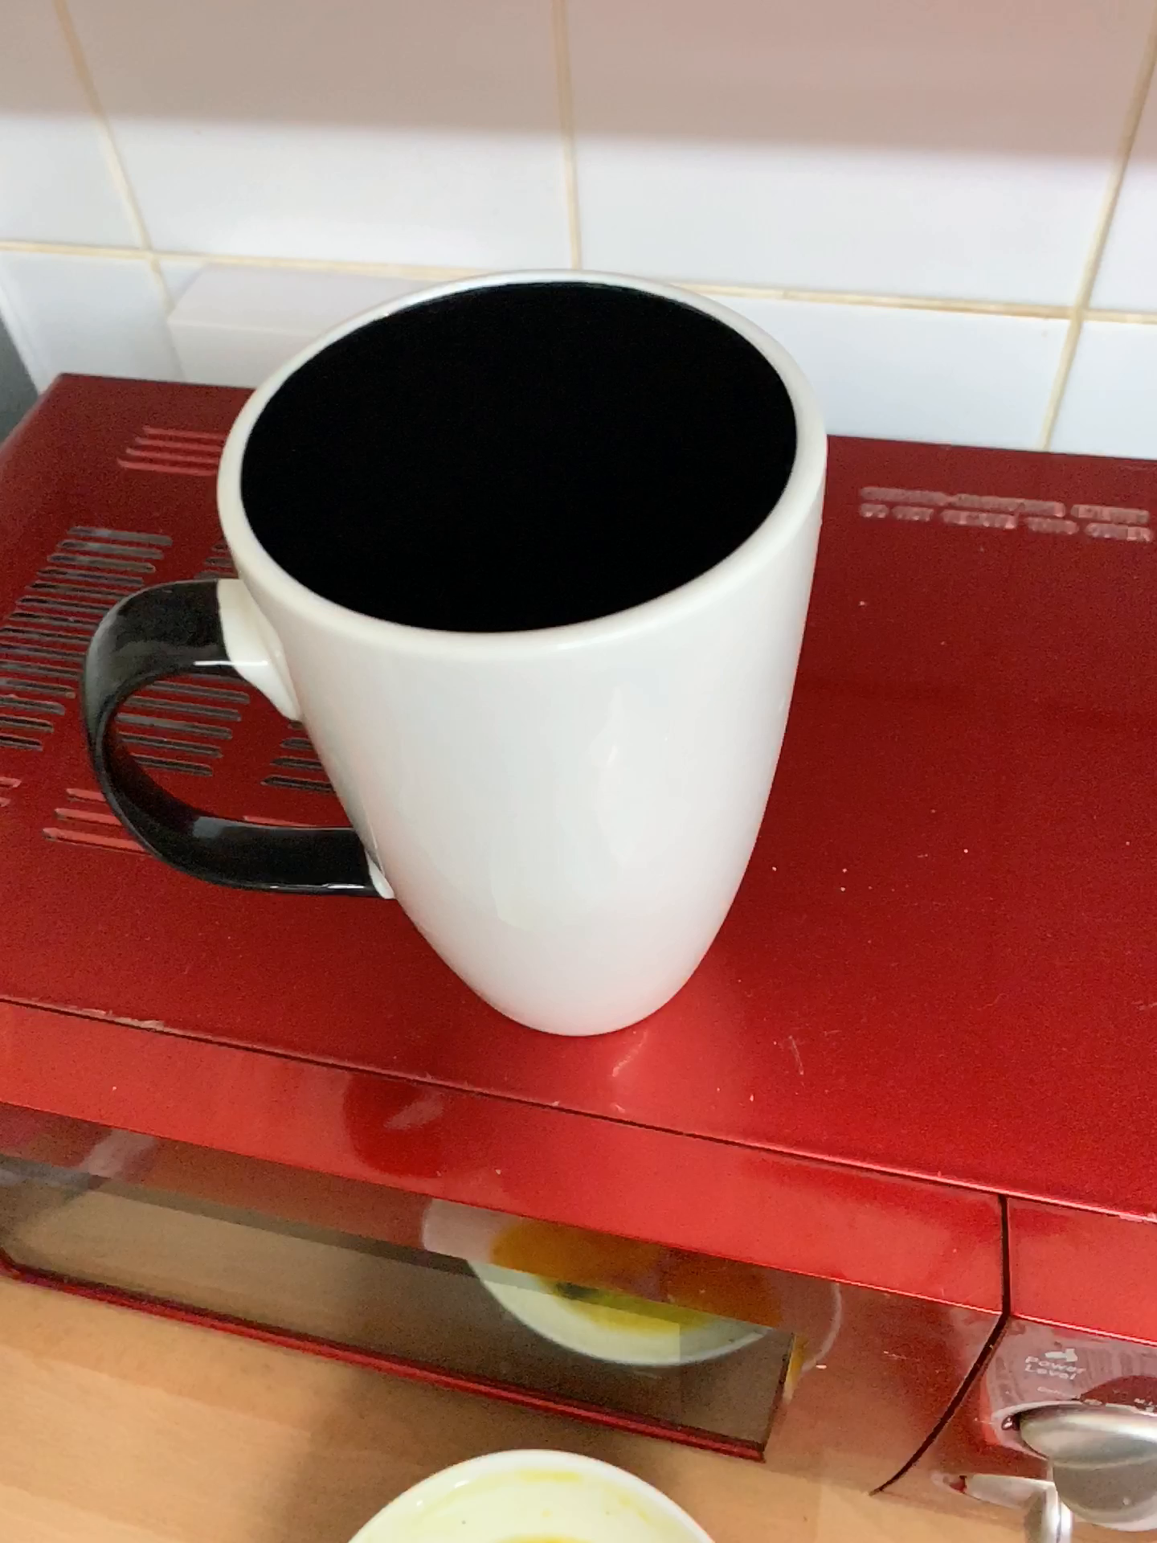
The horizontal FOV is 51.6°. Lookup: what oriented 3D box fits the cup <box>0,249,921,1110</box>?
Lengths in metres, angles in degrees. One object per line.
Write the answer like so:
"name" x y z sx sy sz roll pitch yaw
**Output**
"cup" -0.020 -0.010 0.233 0.130 0.129 0.091 -6 51 0
